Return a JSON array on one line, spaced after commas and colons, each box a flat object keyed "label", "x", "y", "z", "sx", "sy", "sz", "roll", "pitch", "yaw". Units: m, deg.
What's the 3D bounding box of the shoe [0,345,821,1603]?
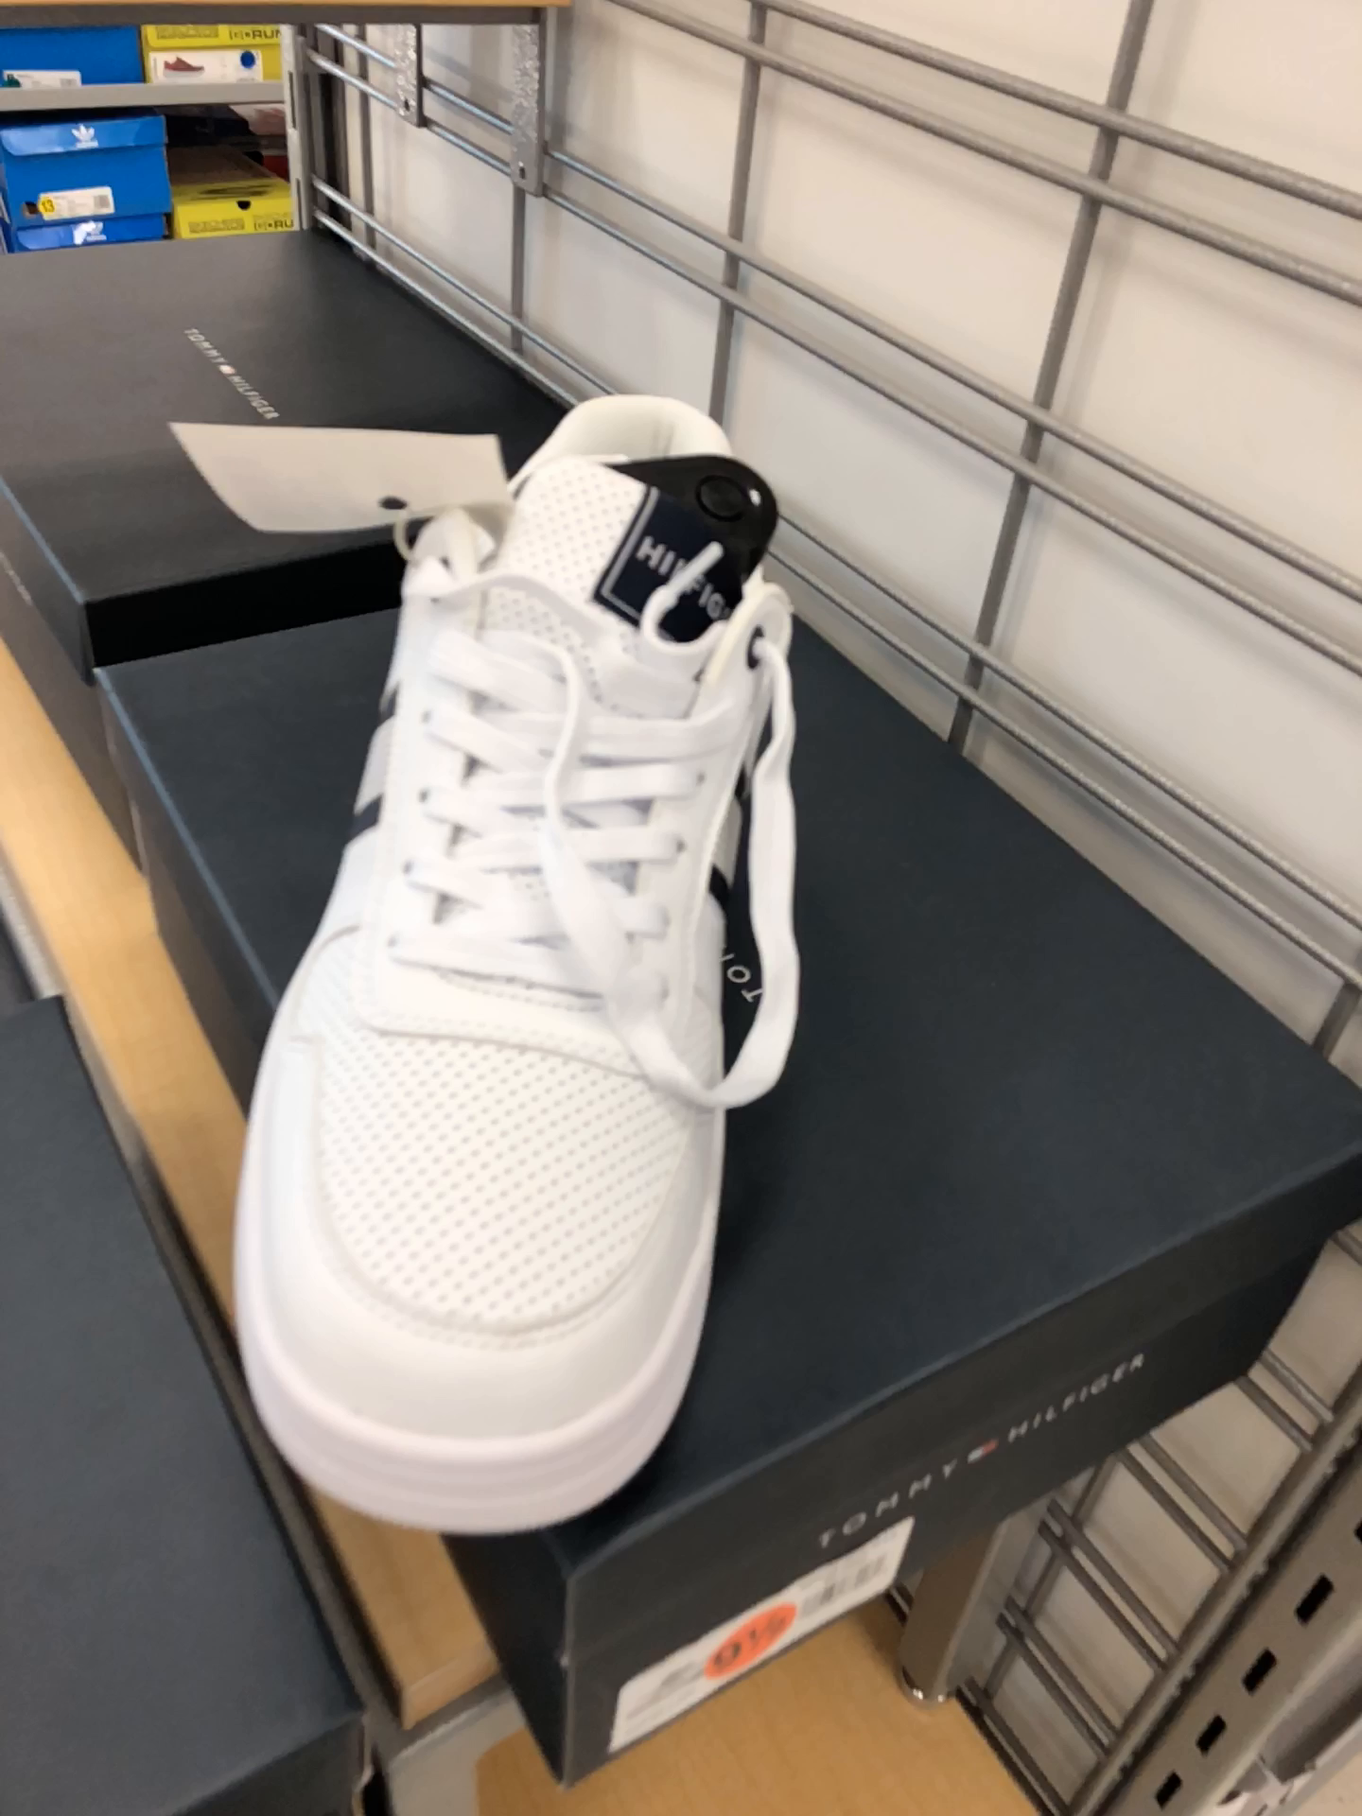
[{"label": "shoe", "x": -0.033, "y": -0.017, "z": 0.336, "sx": 0.110, "sy": 0.109, "sz": 0.282, "roll": 7, "pitch": 39, "yaw": 0}]
